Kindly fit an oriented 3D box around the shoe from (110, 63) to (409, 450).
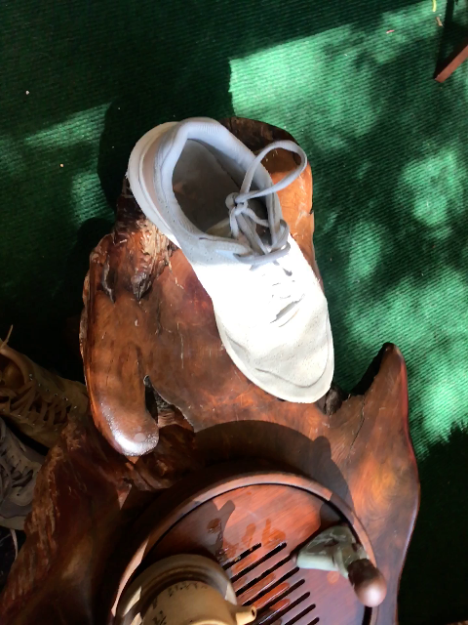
[{"bbox_3d":[0.018,-0.038,0.411,0.103,0.091,0.263,-32,98,-17],"label":"shoe"}]
